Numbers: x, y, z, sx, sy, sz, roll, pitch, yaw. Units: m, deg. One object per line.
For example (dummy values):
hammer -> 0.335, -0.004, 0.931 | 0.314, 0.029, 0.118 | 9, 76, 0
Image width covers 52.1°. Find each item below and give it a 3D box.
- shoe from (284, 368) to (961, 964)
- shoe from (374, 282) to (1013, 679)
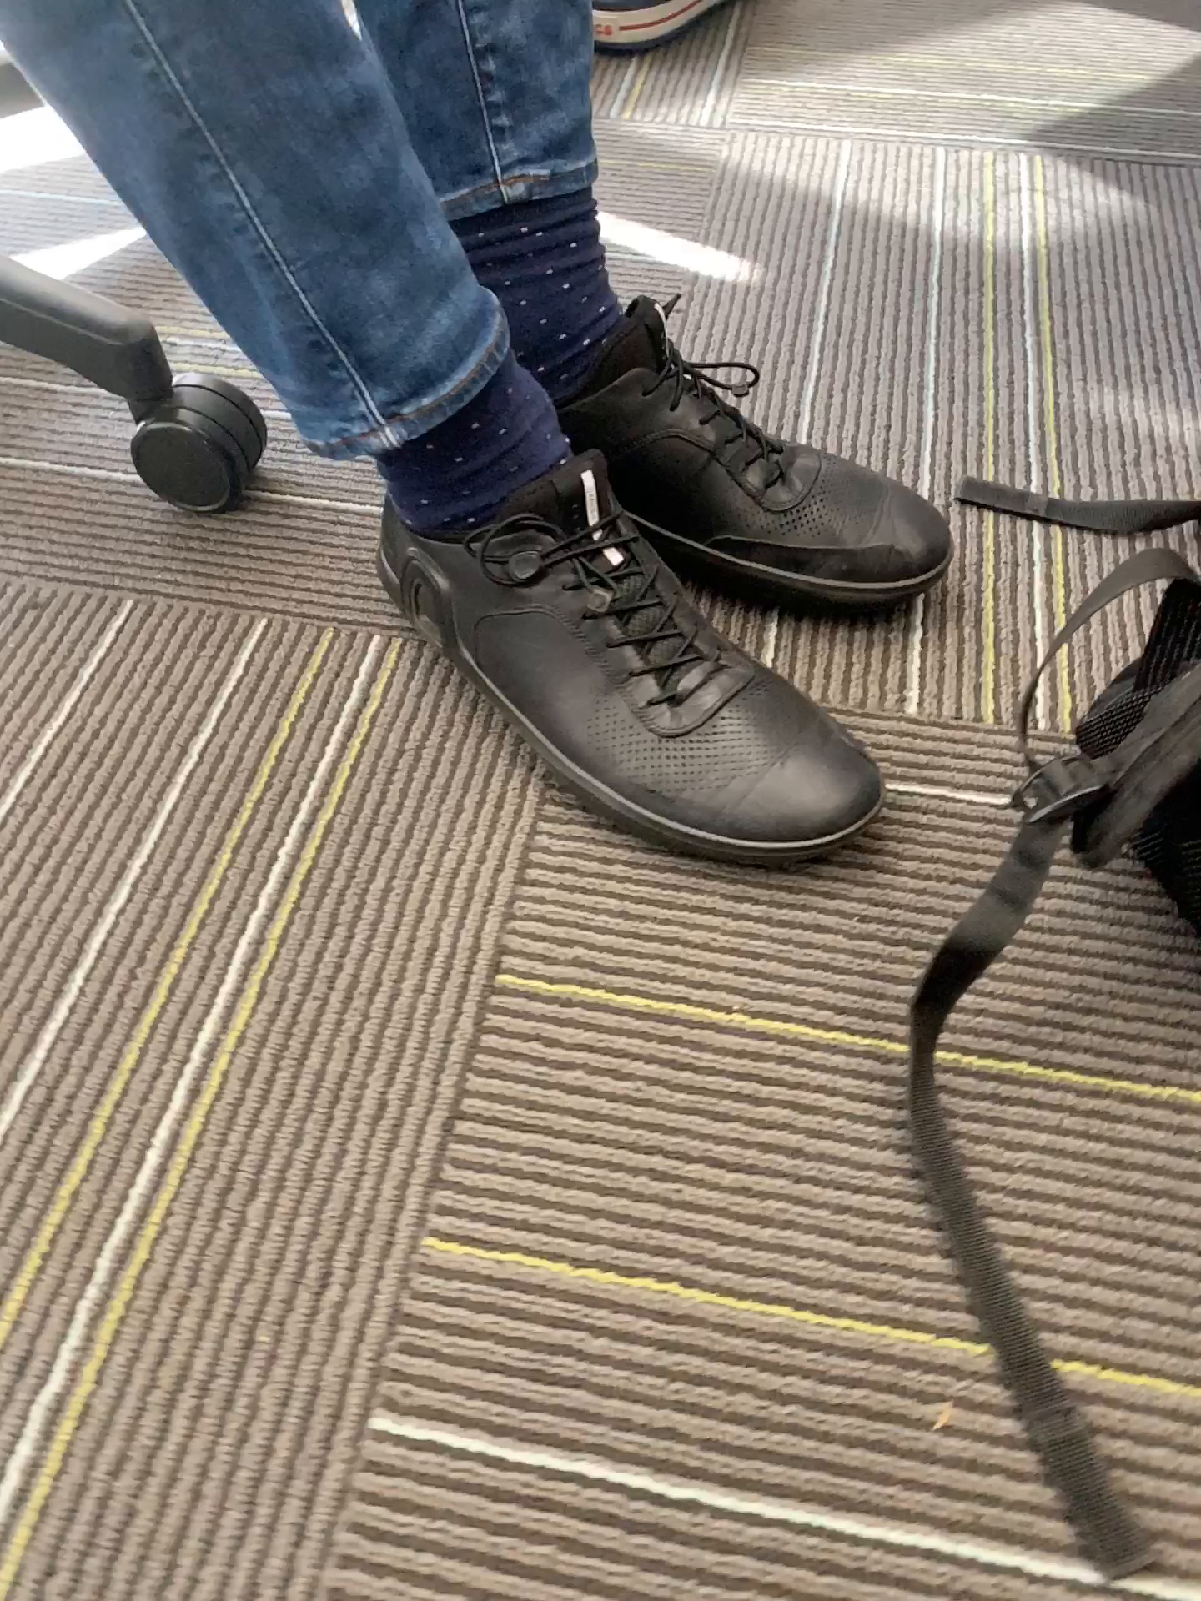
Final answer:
shoe -> -0.002, -0.076, 0.585 | 0.311, 0.100, 0.110 | 38, 61, 25
shoe -> 0.047, -0.180, 0.673 | 0.310, 0.100, 0.110 | 17, 55, 13
